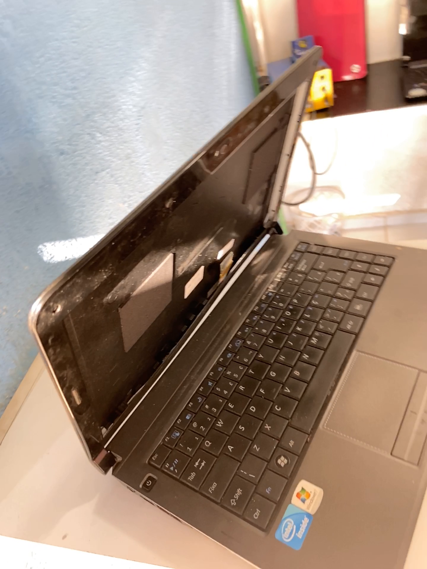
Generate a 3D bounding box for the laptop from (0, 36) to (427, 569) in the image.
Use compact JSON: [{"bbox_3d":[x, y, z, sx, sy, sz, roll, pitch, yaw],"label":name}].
[{"bbox_3d":[0.062,-0.010,0.335,0.206,0.206,0.332,13,49,33],"label":"laptop"}]
